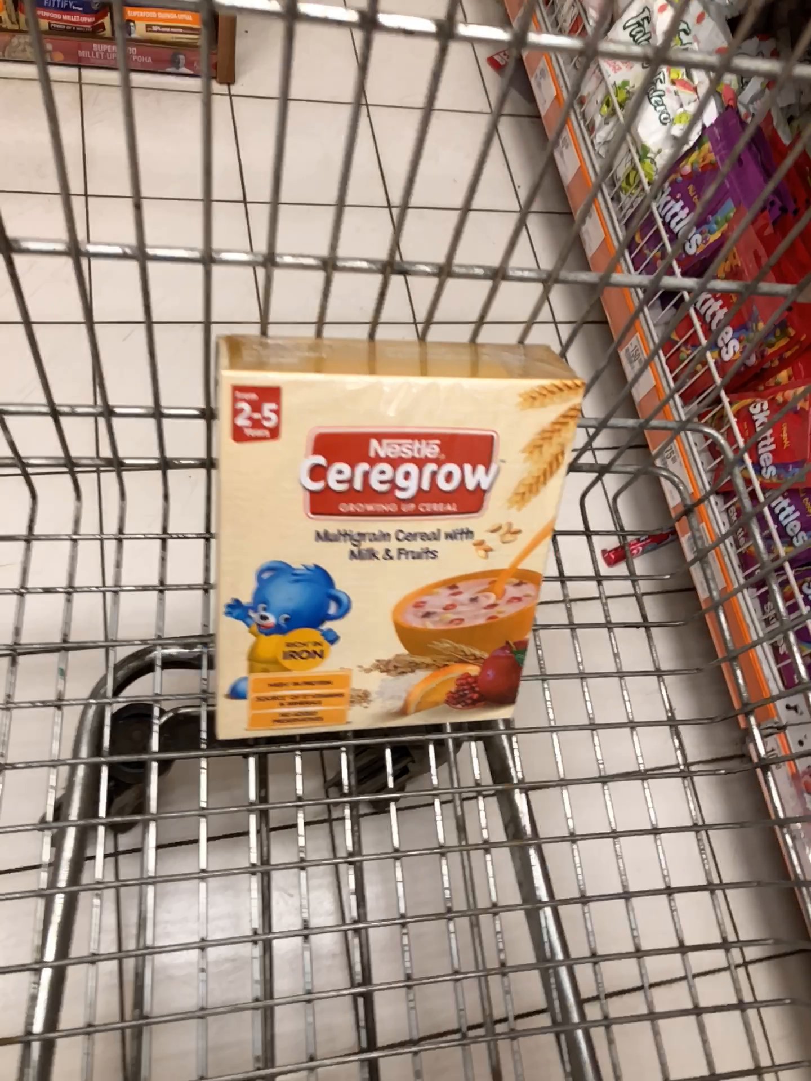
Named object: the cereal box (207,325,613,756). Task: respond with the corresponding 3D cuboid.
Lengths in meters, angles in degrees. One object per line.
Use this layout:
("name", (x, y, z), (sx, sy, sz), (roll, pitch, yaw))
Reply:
("cereal box", (-0.009, 0.004, 0.413), (0.160, 0.189, 0.050), (-1, 30, -15))
